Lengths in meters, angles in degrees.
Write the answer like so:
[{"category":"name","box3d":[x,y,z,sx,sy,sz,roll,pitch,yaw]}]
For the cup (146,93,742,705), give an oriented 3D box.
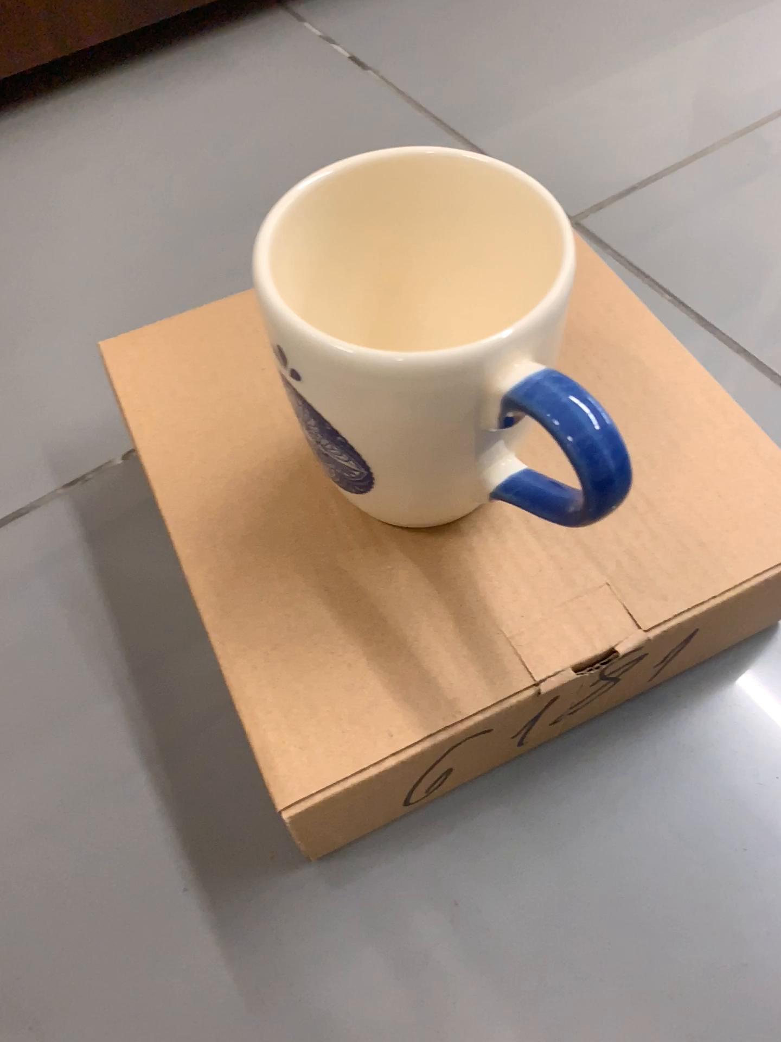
[{"category":"cup","box3d":[0.007,-0.040,0.246,0.090,0.090,0.140,-29,60,-15]}]
